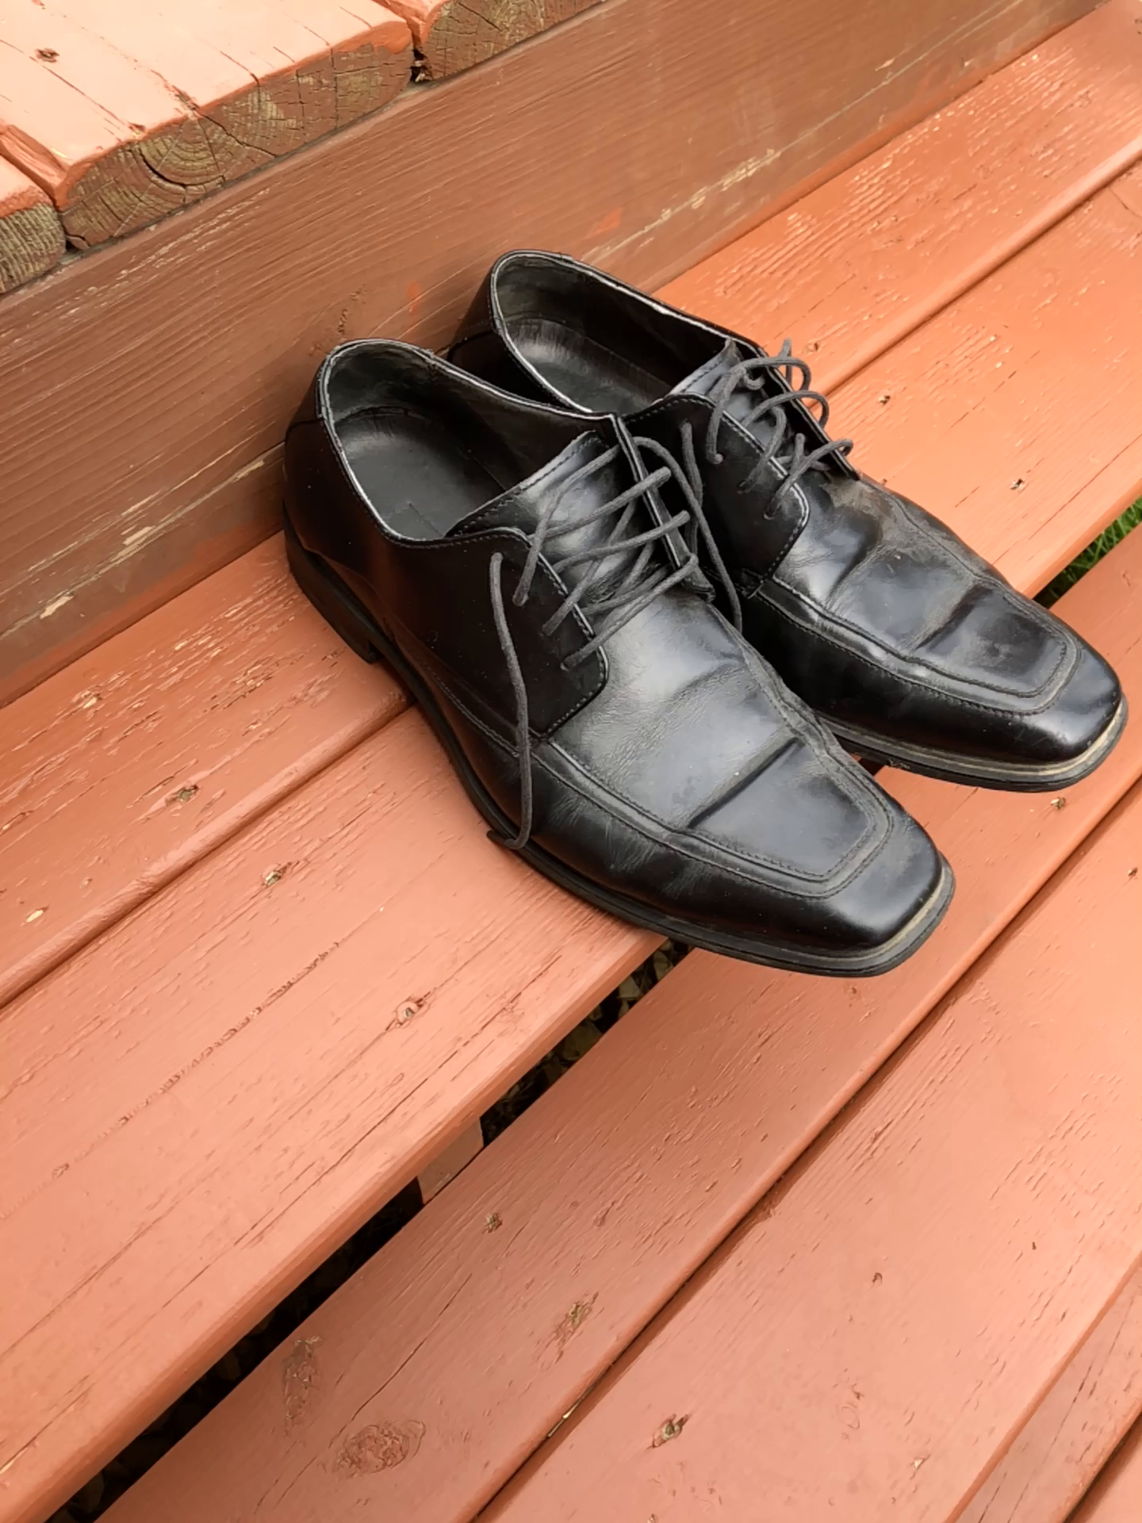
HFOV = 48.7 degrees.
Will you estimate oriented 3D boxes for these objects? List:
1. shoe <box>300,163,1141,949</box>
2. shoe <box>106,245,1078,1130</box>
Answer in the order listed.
[{"bbox_3d":[0.062,-0.094,0.502,0.330,0.110,0.130,36,63,20],"label":"shoe"},{"bbox_3d":[-0.008,-0.042,0.470,0.130,0.110,0.330,-40,66,-23],"label":"shoe"}]
